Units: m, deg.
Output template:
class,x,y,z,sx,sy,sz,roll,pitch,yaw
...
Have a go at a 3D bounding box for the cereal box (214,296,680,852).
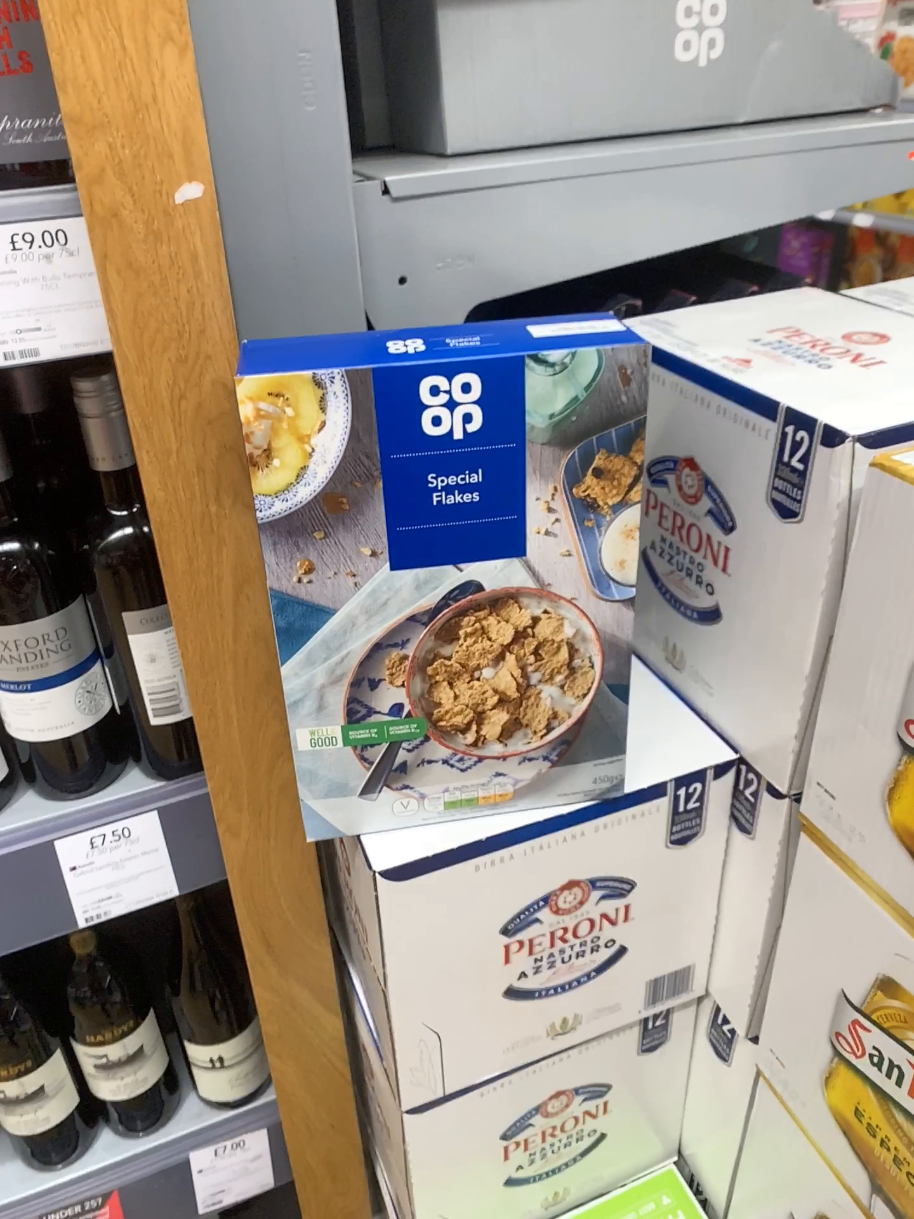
class,x,y,z,sx,sy,sz,roll,pitch,yaw
cereal box,0.000,-0.011,0.497,0.200,0.267,0.071,-7,30,-6
